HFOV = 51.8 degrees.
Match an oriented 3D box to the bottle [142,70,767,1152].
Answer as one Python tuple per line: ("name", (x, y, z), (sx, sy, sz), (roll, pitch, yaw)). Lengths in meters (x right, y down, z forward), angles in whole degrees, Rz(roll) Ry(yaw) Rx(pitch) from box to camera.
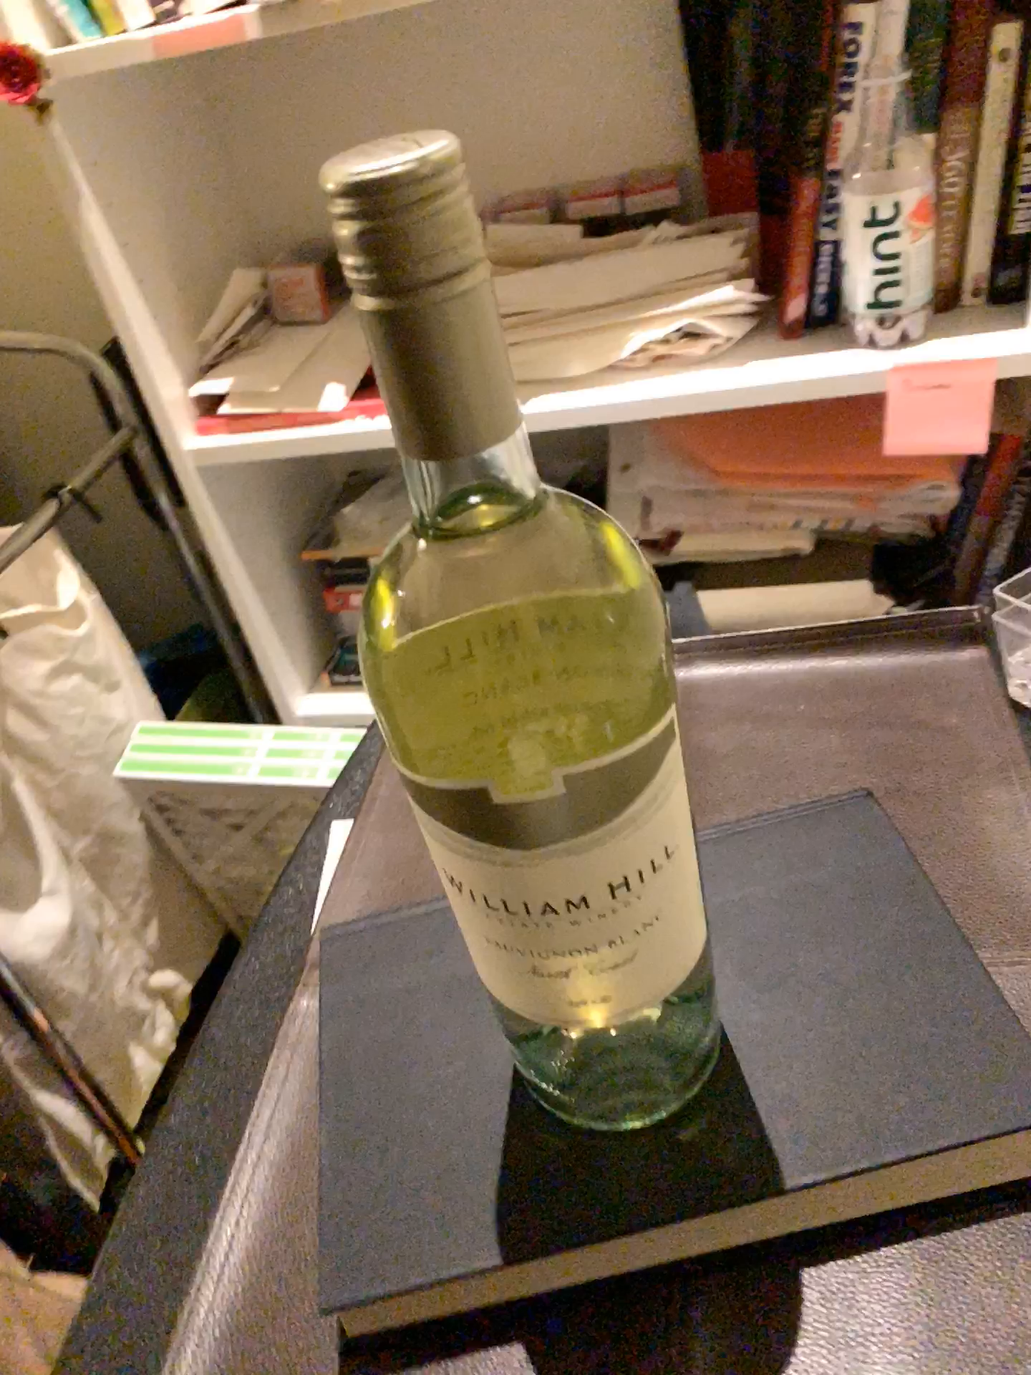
("bottle", (0.010, 0.007, 0.305), (0.090, 0.298, 0.090), (-10, 35, 7))
